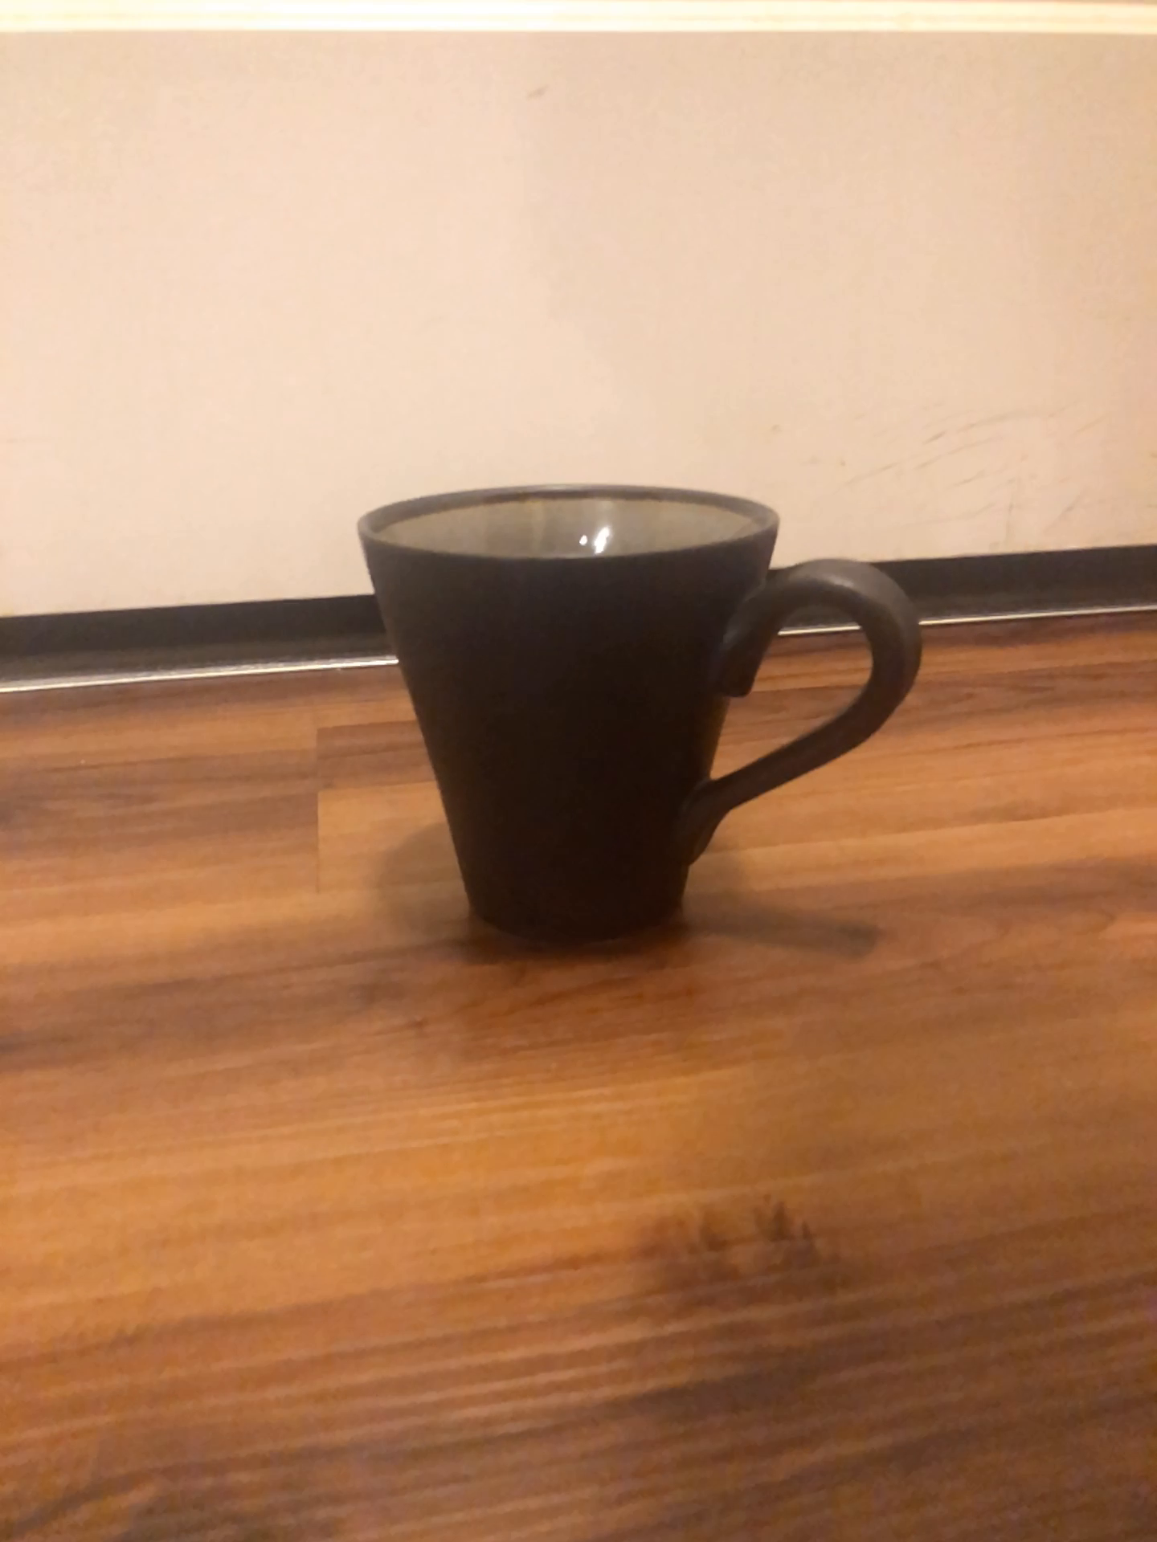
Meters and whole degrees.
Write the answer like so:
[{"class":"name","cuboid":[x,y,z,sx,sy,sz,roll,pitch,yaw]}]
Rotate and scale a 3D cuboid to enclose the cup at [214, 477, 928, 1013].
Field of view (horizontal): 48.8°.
[{"class":"cup","cuboid":[0.003,-0.021,0.355,0.154,0.100,0.115,9,22,25]}]
